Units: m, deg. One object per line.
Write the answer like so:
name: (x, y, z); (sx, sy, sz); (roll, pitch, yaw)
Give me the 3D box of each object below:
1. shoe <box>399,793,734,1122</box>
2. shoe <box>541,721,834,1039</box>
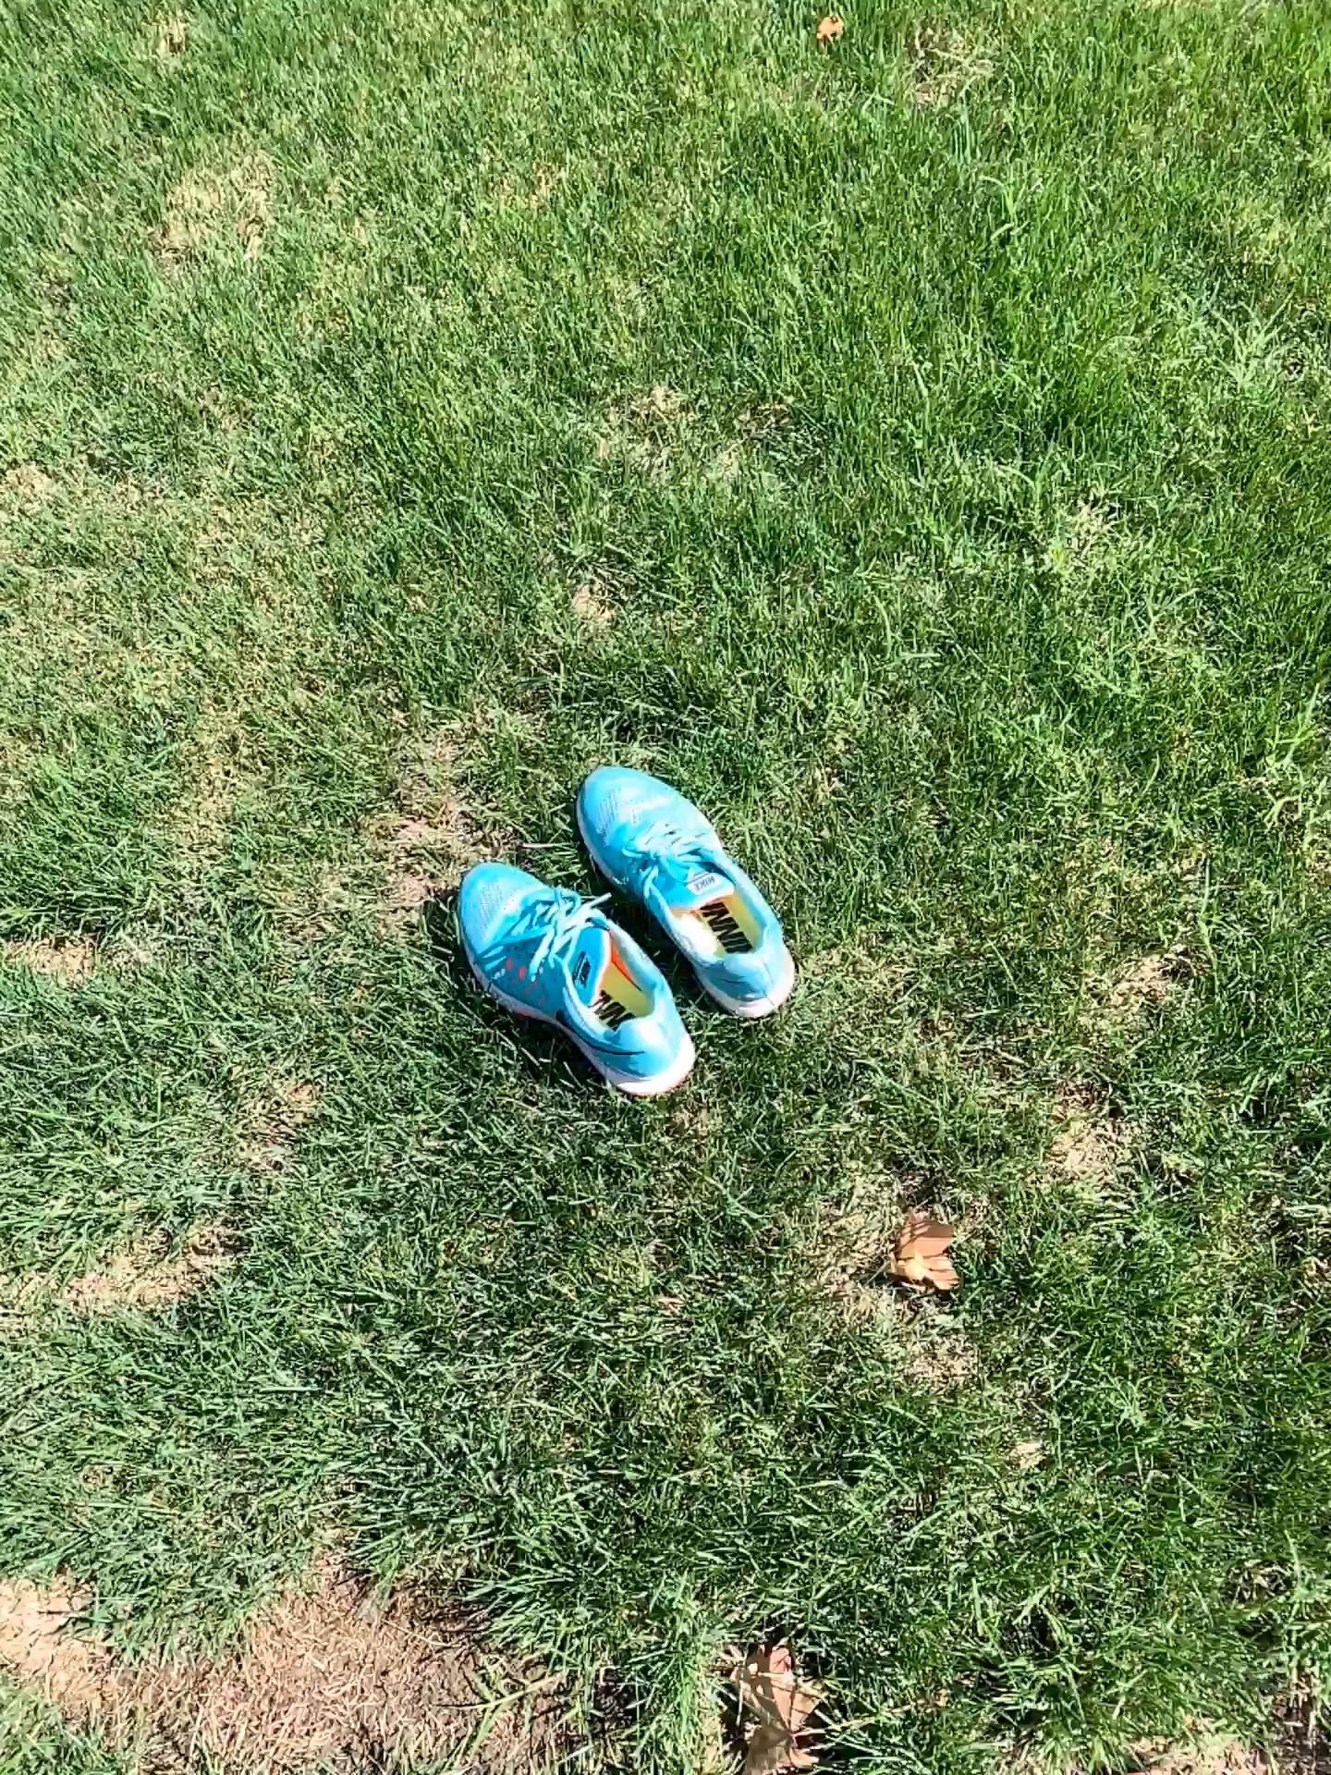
shoe: (-0.080, 0.056, 1.120); (0.260, 0.100, 0.110); (38, 72, 17)
shoe: (0.016, -0.009, 1.136); (0.100, 0.080, 0.250); (-37, 70, -14)
